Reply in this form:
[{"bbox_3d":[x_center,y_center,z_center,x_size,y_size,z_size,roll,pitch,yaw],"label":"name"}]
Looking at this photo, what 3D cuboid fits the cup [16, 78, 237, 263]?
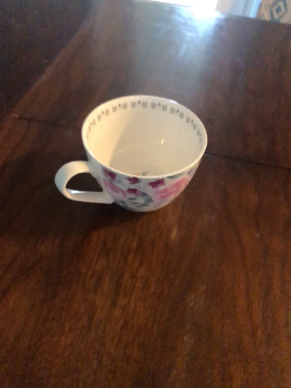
[{"bbox_3d":[-0.018,-0.035,0.323,0.160,0.070,0.120,-28,56,-26],"label":"cup"}]
